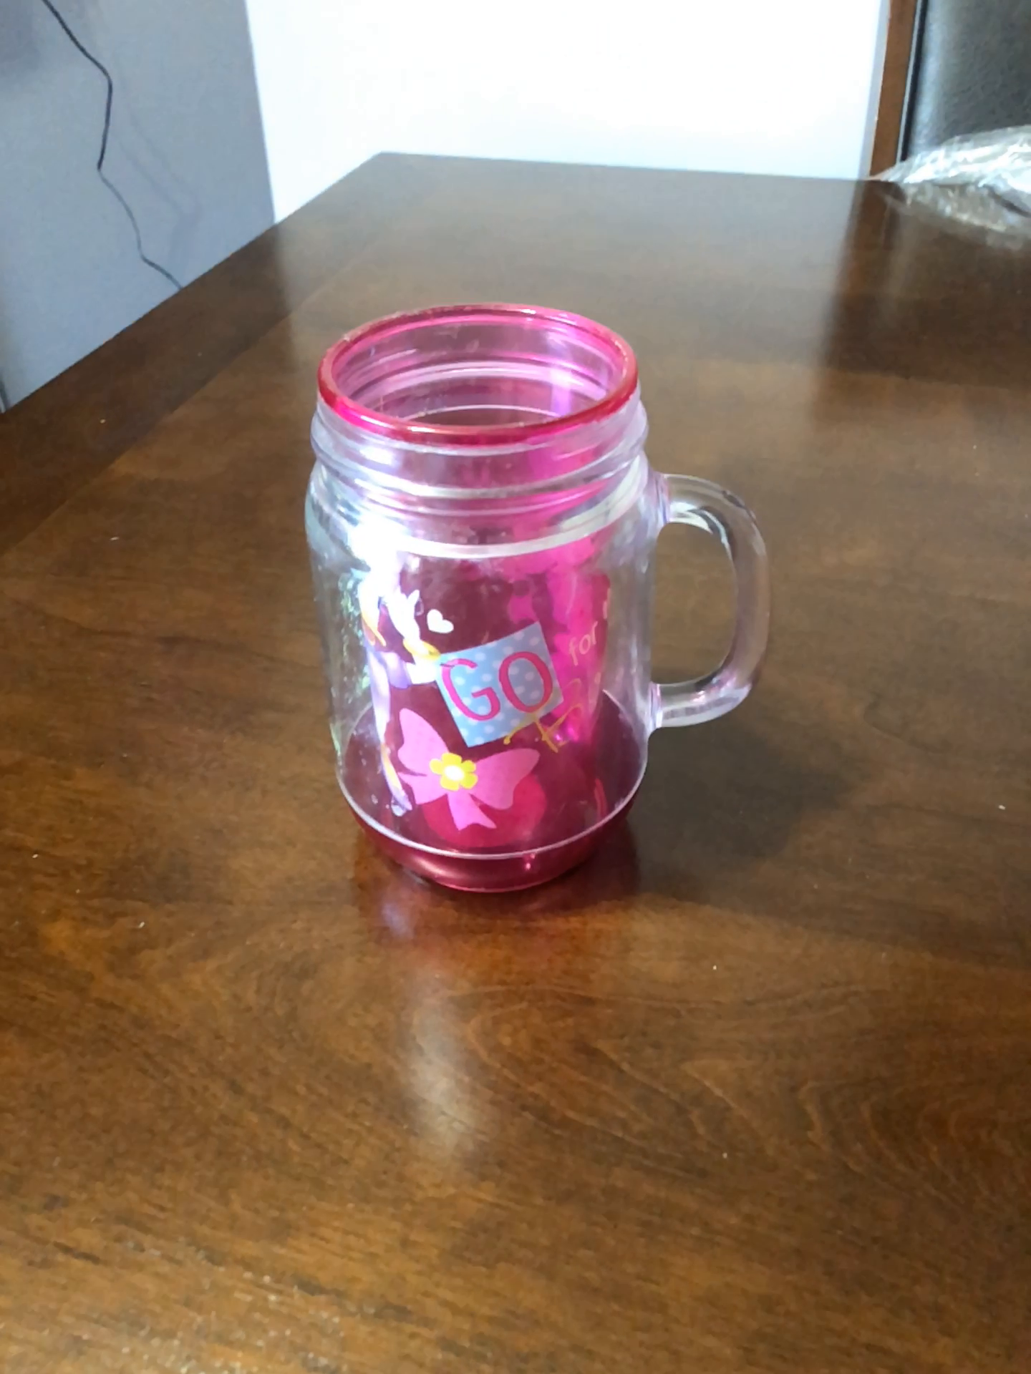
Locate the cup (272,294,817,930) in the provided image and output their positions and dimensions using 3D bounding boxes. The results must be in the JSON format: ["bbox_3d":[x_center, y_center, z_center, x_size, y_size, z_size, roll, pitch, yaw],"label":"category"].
[{"bbox_3d":[0.006,-0.018,0.332,0.120,0.159,0.080,-4,38,-3],"label":"cup"}]
